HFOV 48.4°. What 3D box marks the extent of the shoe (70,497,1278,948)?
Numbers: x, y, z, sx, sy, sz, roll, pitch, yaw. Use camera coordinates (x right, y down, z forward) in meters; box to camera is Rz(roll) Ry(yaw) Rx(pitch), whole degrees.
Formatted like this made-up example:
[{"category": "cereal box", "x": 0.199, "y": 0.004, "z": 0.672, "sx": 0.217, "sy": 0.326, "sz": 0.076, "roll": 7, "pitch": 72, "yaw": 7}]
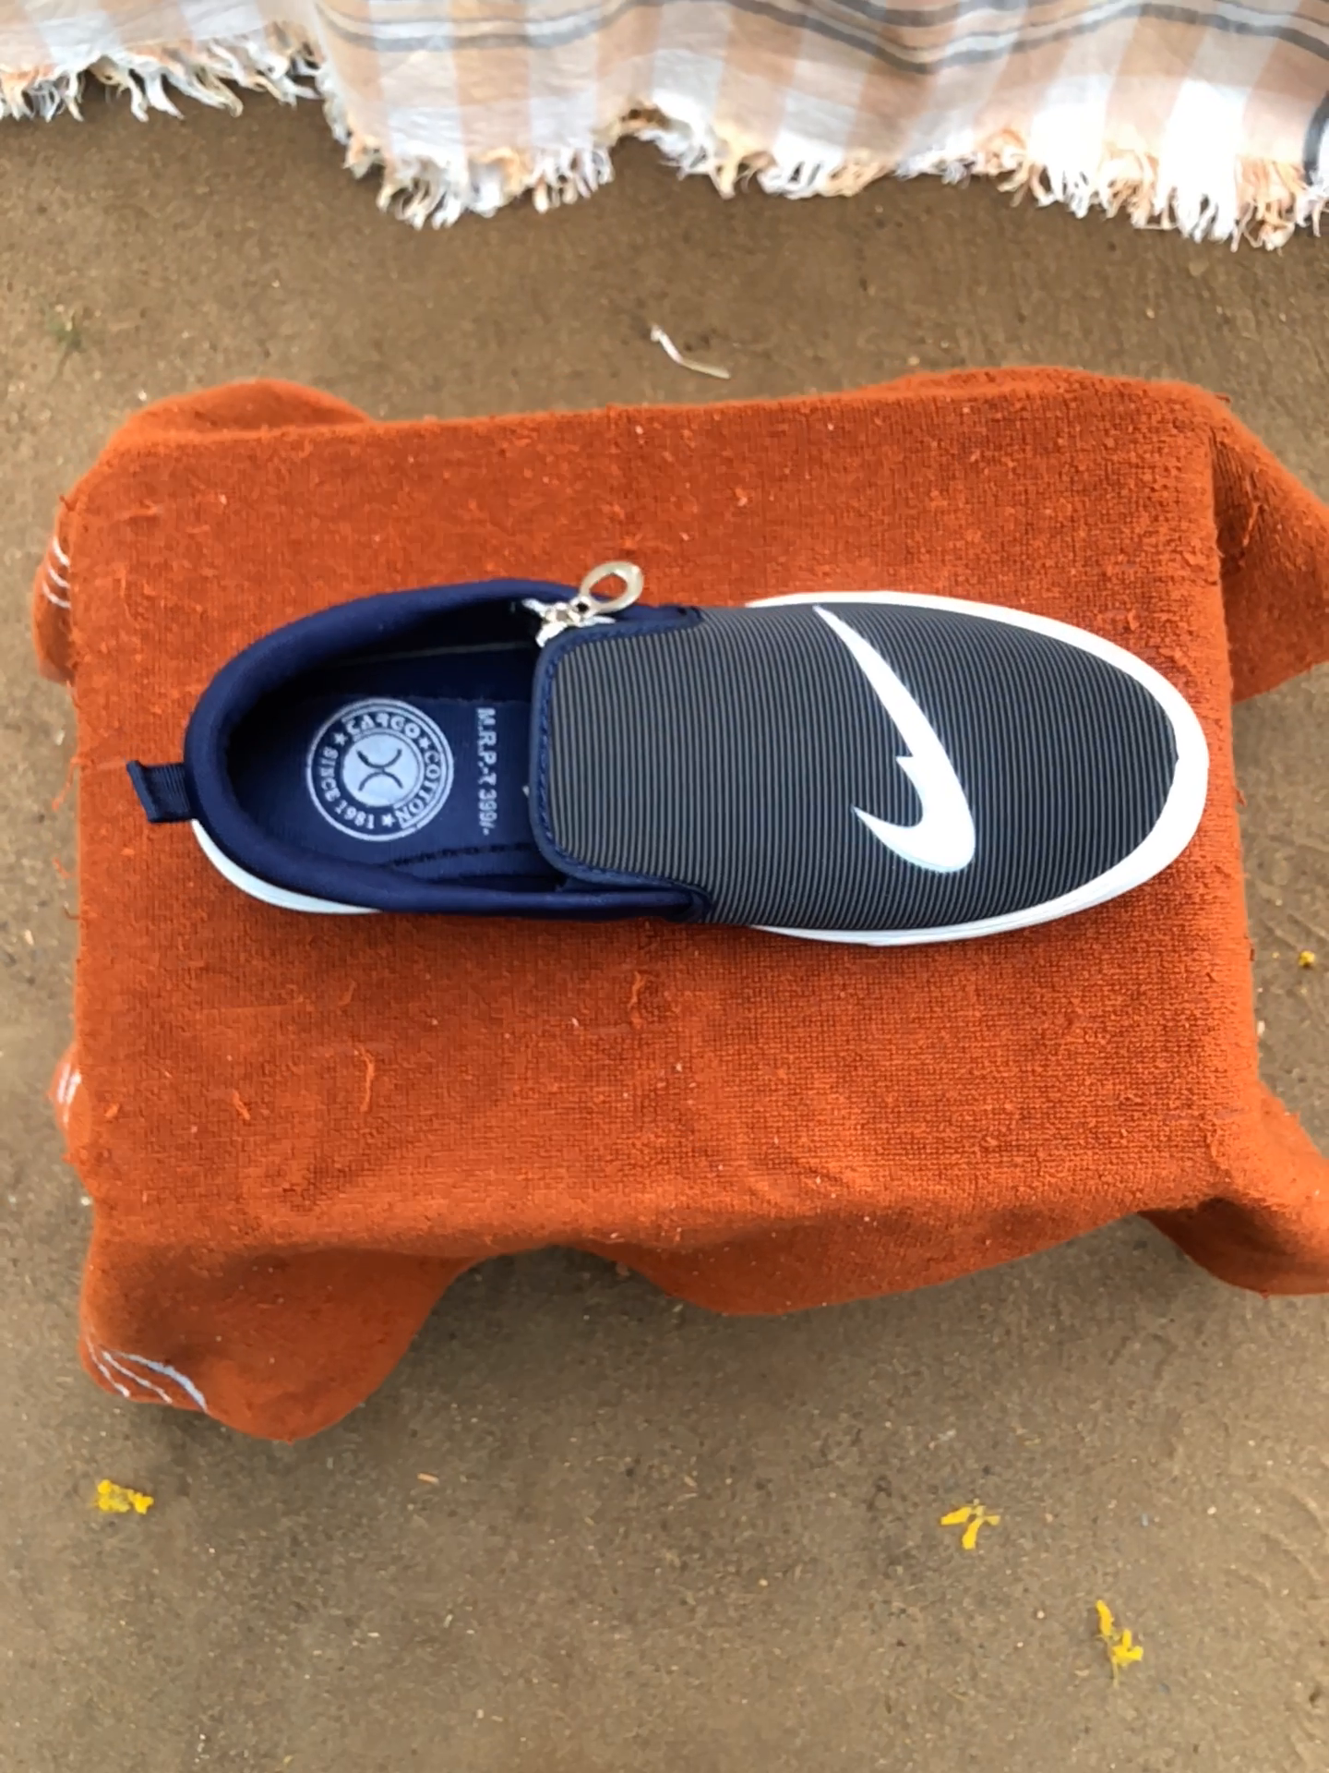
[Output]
[{"category": "shoe", "x": 0.005, "y": -0.040, "z": 0.412, "sx": 0.300, "sy": 0.080, "sz": 0.100, "roll": 2, "pitch": 84, "yaw": -2}]
